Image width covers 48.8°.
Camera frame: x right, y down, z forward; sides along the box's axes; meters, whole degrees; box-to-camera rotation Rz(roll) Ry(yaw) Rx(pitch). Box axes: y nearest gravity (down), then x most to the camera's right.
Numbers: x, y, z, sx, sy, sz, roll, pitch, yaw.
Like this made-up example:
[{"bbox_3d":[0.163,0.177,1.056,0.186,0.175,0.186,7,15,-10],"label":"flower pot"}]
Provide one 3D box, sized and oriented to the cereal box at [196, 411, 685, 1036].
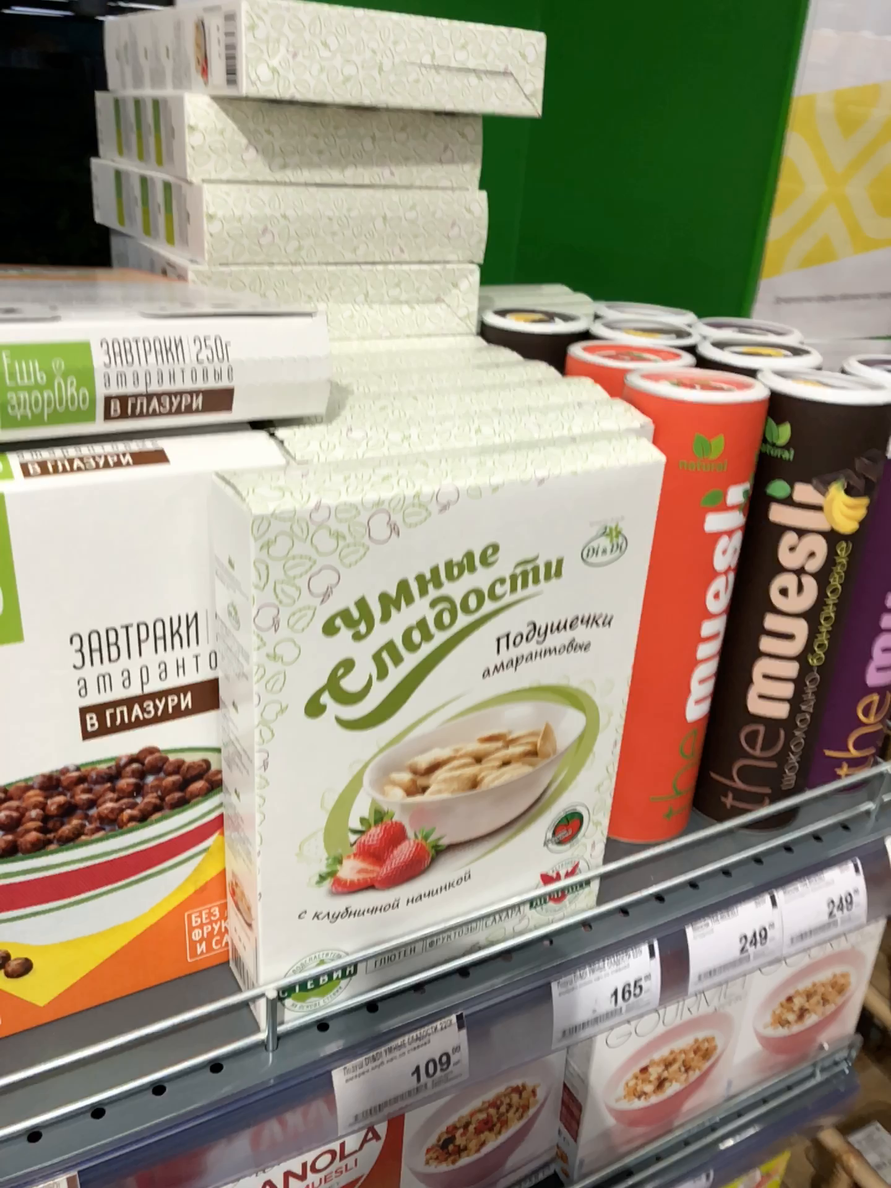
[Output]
[{"bbox_3d":[-0.003,0.056,0.455,0.200,0.258,0.050,-10,27,-27],"label":"cereal box"}]
